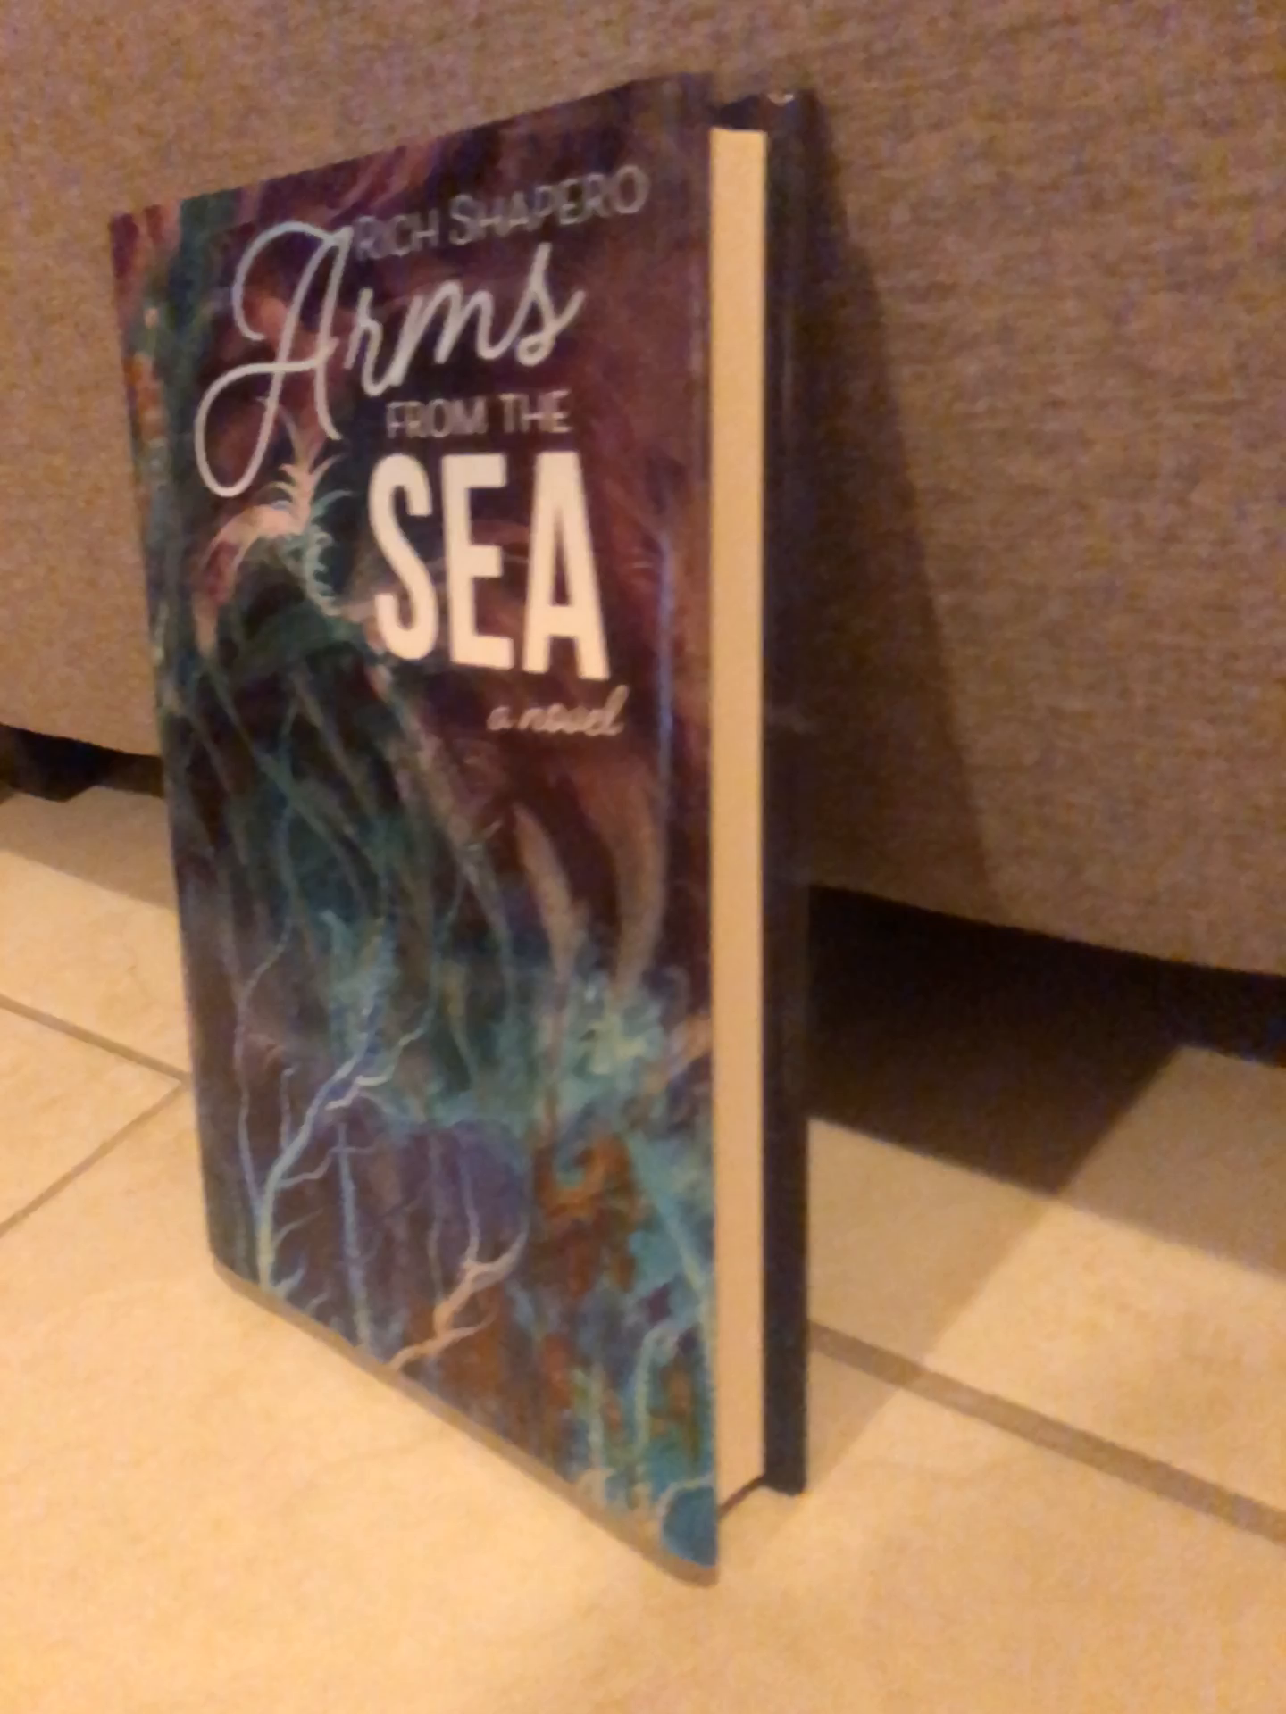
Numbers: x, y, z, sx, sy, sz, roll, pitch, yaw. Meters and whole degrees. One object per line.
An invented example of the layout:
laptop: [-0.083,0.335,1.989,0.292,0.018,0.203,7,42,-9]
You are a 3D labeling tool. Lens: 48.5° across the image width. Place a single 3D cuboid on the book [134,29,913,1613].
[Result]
book: [-0.029,-0.006,0.263,0.157,0.228,0.030,12,18,41]
